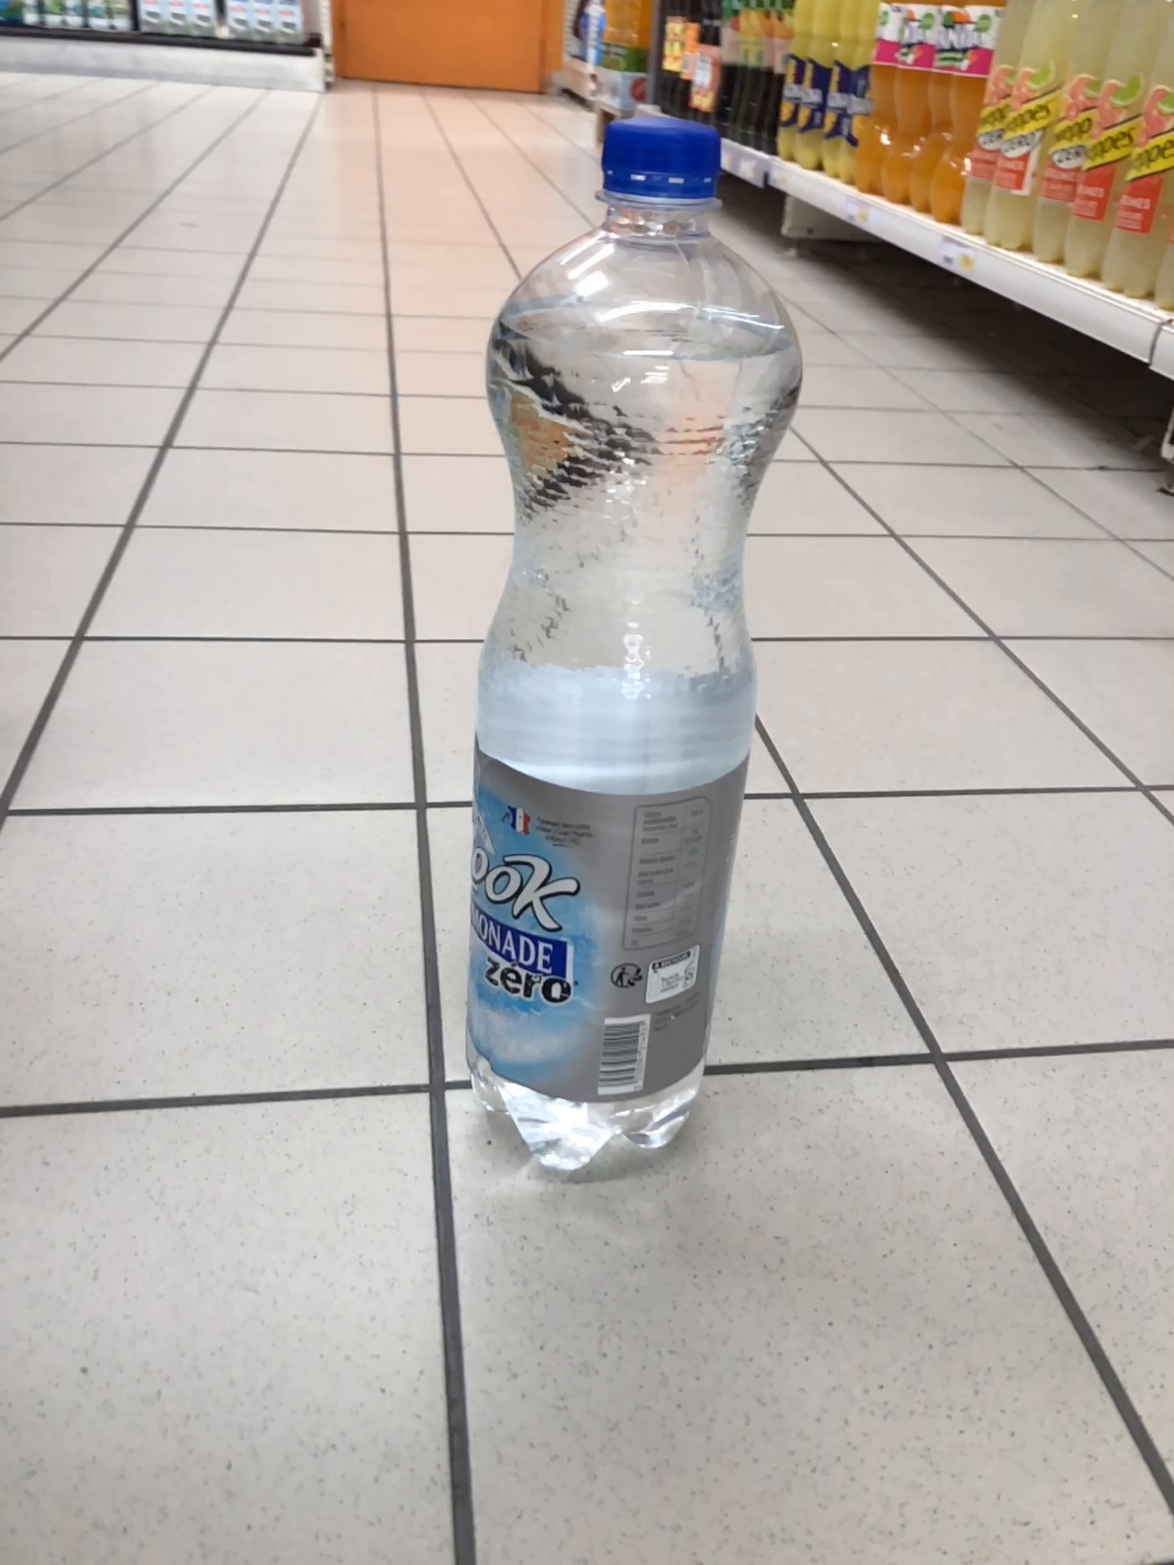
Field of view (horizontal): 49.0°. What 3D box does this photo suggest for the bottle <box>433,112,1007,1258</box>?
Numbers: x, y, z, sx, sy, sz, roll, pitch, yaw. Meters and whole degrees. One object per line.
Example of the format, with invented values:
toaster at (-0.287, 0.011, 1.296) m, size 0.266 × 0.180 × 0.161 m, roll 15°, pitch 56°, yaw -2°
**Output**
bottle at (0.024, -0.021, 0.406) m, size 0.101 × 0.328 × 0.100 m, roll 4°, pitch 29°, yaw -2°
